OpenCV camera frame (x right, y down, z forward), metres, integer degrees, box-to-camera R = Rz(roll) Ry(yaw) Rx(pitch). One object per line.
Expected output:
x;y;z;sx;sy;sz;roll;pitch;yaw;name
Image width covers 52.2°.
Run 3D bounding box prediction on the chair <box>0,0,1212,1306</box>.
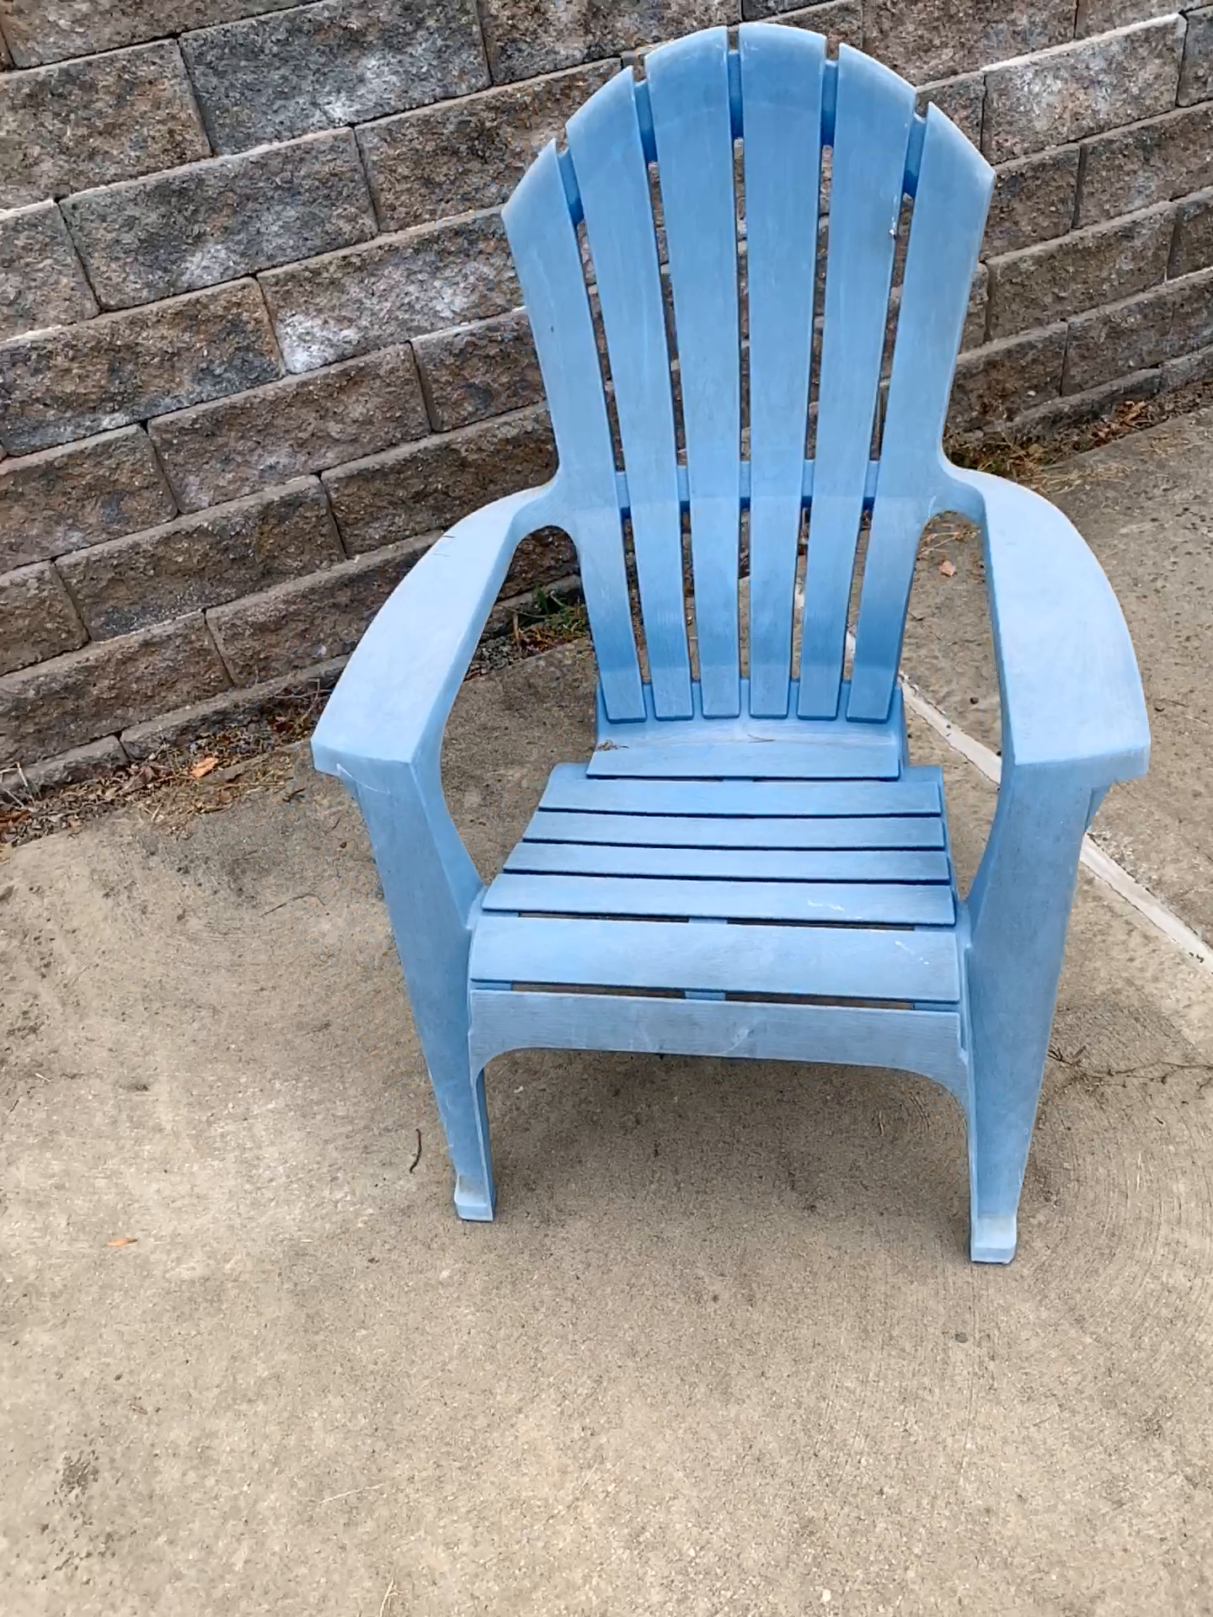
0.089;-0.146;1.155;0.701;0.885;0.764;2;44;12;chair
